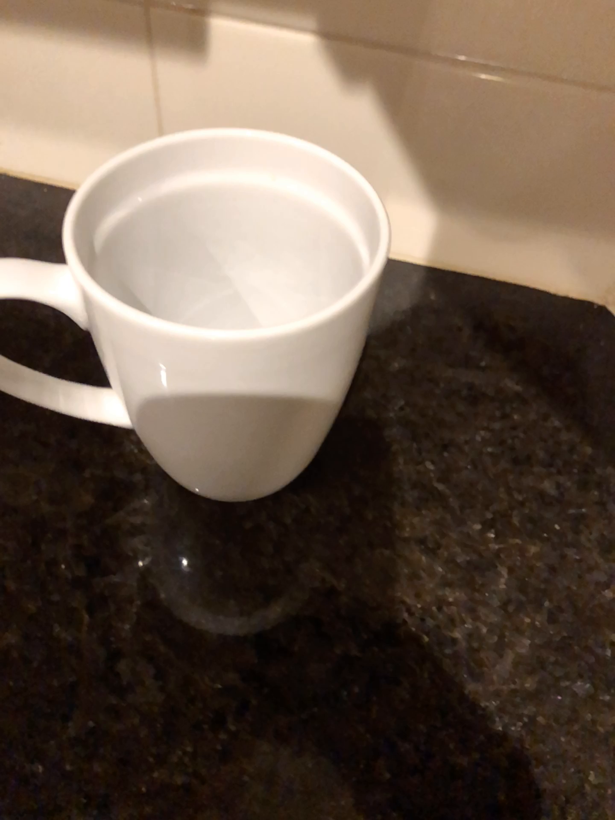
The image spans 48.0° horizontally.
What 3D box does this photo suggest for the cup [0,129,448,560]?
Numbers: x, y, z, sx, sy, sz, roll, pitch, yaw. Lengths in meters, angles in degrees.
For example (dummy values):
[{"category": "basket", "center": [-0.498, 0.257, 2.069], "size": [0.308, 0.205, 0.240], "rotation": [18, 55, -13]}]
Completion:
[{"category": "cup", "center": [-0.041, -0.021, 0.215], "size": [0.130, 0.090, 0.090], "rotation": [-4, 53, -8]}]
